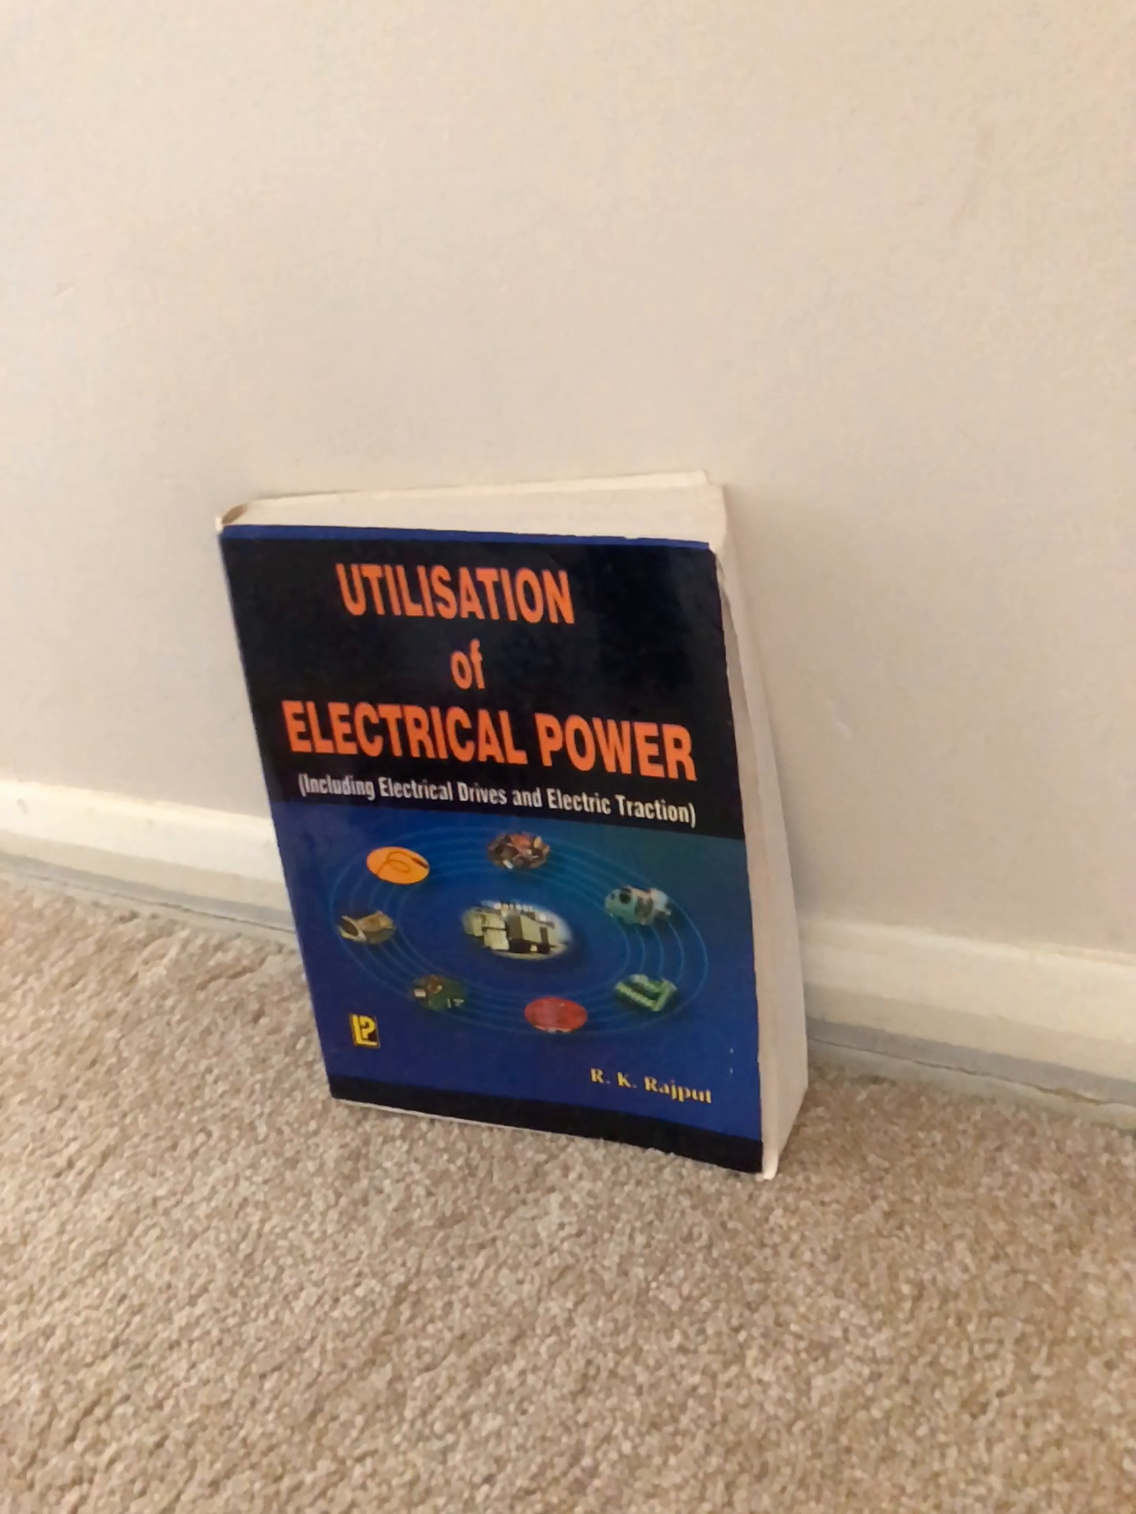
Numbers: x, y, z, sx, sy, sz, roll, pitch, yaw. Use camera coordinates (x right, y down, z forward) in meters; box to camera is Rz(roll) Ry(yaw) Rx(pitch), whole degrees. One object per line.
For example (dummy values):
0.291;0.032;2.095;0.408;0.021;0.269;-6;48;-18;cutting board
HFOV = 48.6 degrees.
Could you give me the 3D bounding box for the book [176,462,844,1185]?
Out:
-0.012;0.025;0.431;0.190;0.229;0.050;2;26;24;book
